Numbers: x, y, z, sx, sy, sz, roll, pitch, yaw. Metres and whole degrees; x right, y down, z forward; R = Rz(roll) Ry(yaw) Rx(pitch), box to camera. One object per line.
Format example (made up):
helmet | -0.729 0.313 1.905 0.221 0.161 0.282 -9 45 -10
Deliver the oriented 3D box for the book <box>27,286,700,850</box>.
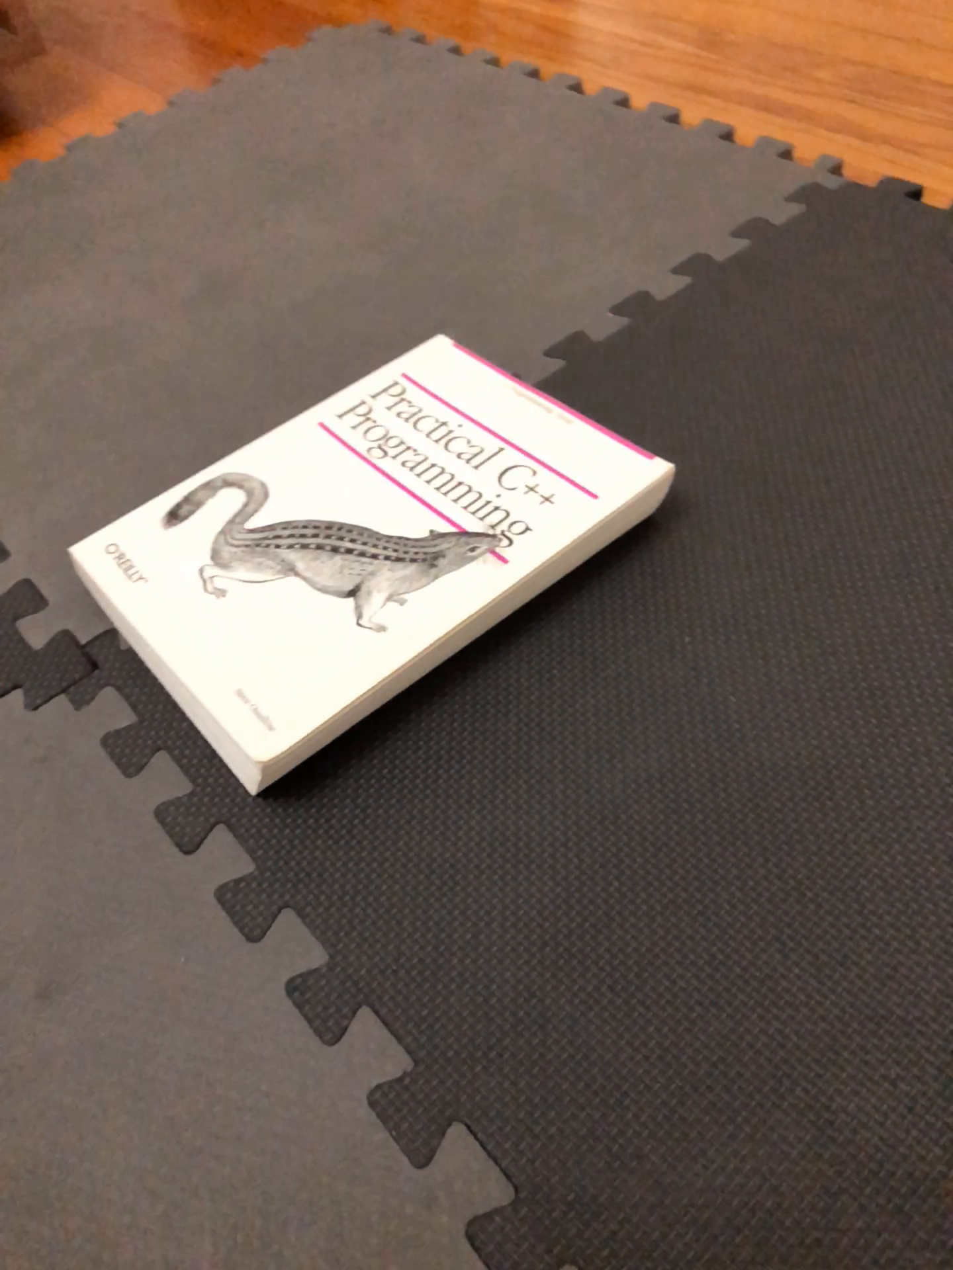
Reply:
book | -0.054 -0.052 0.515 0.250 0.050 0.201 -36 57 -19
